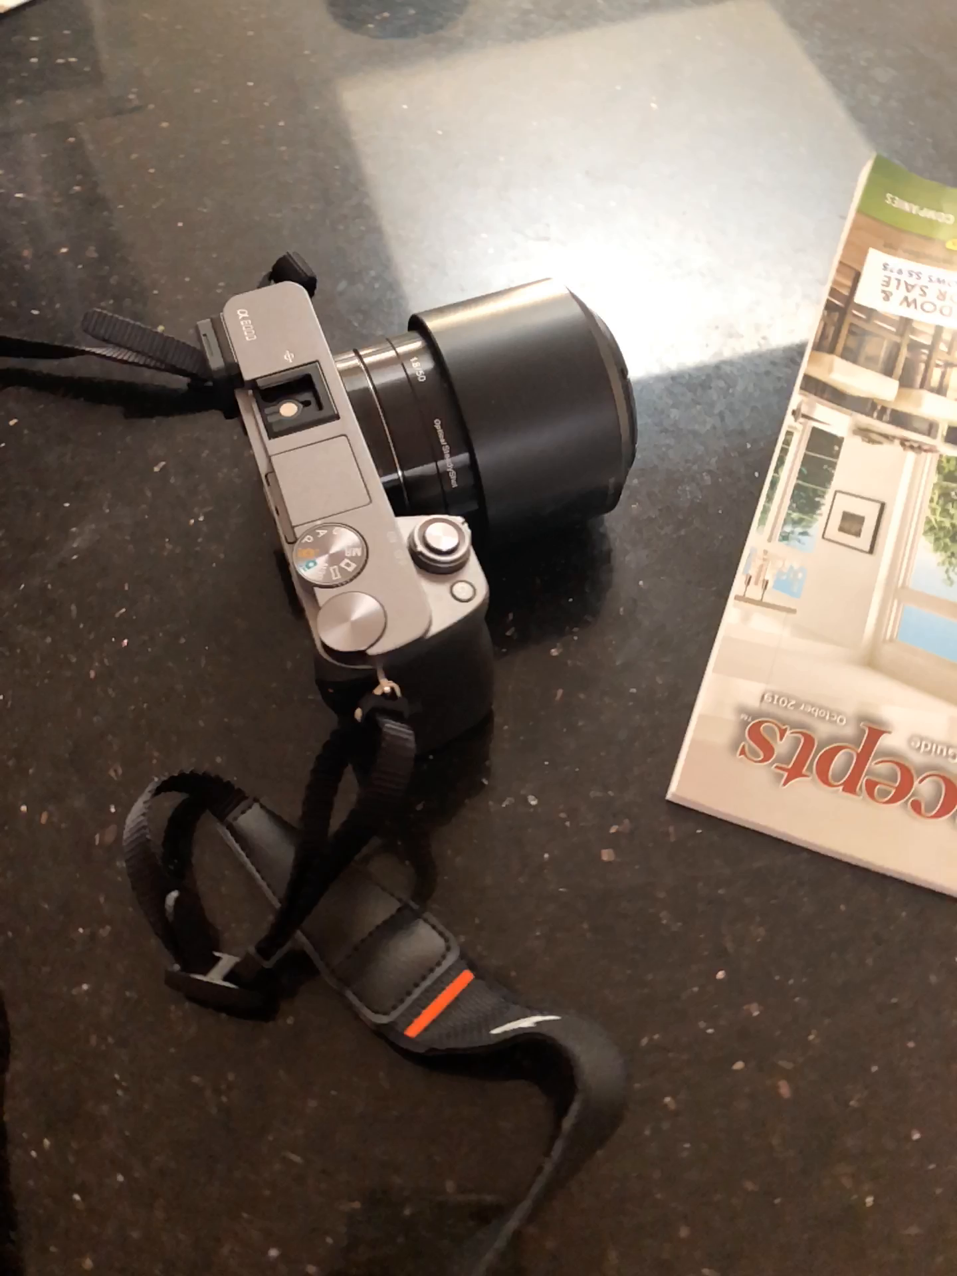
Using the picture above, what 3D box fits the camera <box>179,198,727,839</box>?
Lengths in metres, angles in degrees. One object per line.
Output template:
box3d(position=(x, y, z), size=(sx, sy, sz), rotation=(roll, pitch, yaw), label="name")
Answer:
box3d(position=(-0.011, -0.032, 0.302), size=(0.099, 0.100, 0.127), rotation=(-17, 63, -8), label="camera")
